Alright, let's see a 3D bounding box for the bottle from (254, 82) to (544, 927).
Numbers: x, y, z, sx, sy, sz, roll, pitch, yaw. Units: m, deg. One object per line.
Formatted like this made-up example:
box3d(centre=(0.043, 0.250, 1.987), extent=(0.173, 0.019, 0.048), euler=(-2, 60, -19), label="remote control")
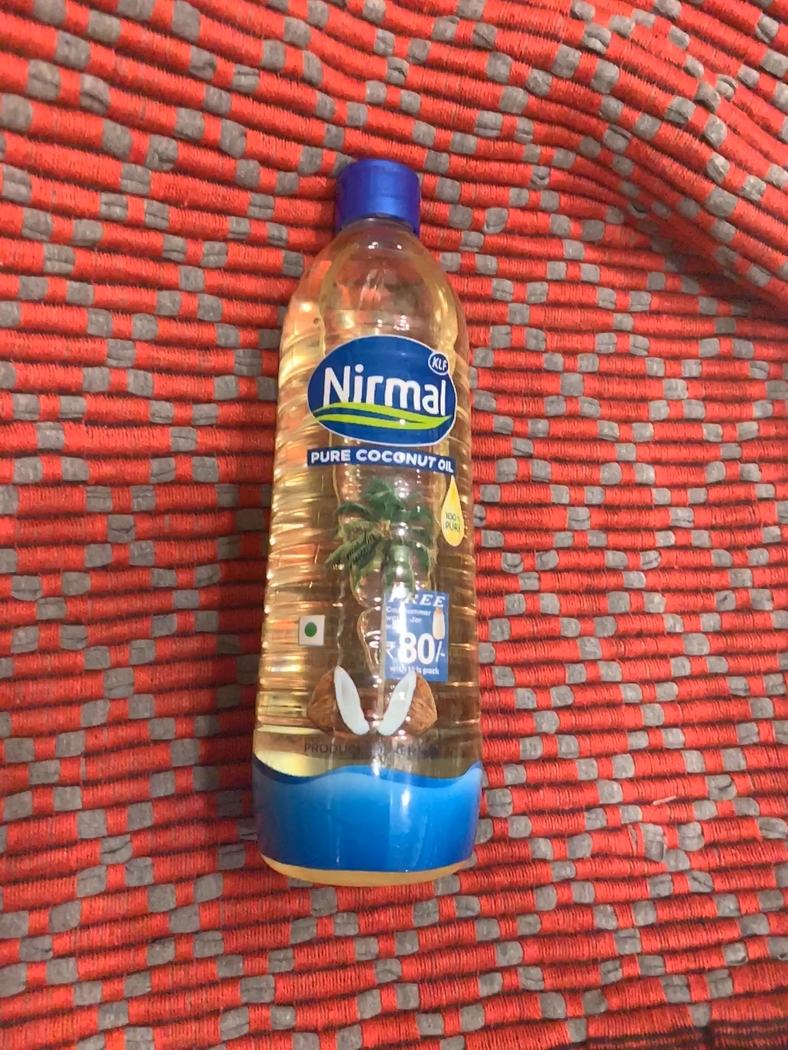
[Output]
box3d(centre=(0.001, -0.007, 0.220), extent=(0.060, 0.050, 0.200), euler=(4, 81, -12), label="bottle")
